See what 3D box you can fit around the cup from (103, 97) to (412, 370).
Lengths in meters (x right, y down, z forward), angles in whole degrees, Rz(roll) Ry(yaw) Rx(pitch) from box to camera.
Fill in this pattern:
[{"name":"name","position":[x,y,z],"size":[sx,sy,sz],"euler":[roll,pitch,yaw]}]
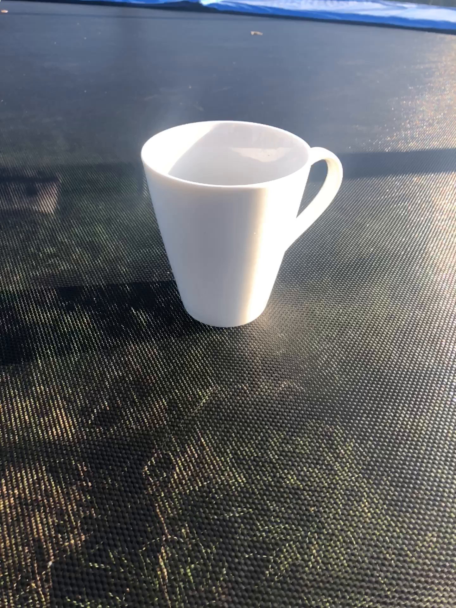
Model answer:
[{"name":"cup","position":[0.013,-0.049,0.291],"size":[0.130,0.094,0.097],"euler":[-19,41,-22]}]
